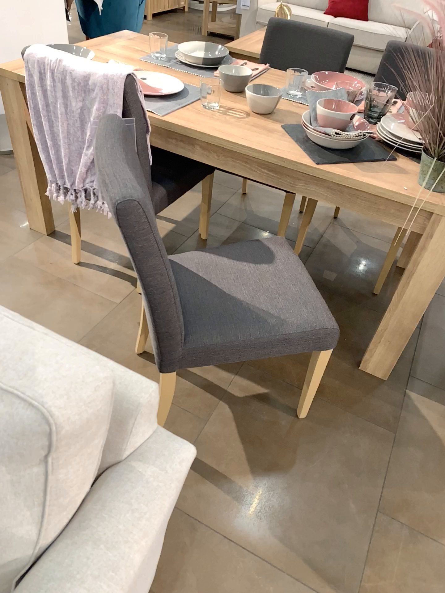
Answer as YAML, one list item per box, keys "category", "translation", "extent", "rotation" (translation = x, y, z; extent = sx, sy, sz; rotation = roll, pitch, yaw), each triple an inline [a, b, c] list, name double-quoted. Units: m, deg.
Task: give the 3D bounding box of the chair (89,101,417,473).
- category: "chair"
  translation: [-0.018, -0.002, 1.288]
  extent: [0.614, 0.889, 0.511]
  rotation: [-4, 43, -14]
